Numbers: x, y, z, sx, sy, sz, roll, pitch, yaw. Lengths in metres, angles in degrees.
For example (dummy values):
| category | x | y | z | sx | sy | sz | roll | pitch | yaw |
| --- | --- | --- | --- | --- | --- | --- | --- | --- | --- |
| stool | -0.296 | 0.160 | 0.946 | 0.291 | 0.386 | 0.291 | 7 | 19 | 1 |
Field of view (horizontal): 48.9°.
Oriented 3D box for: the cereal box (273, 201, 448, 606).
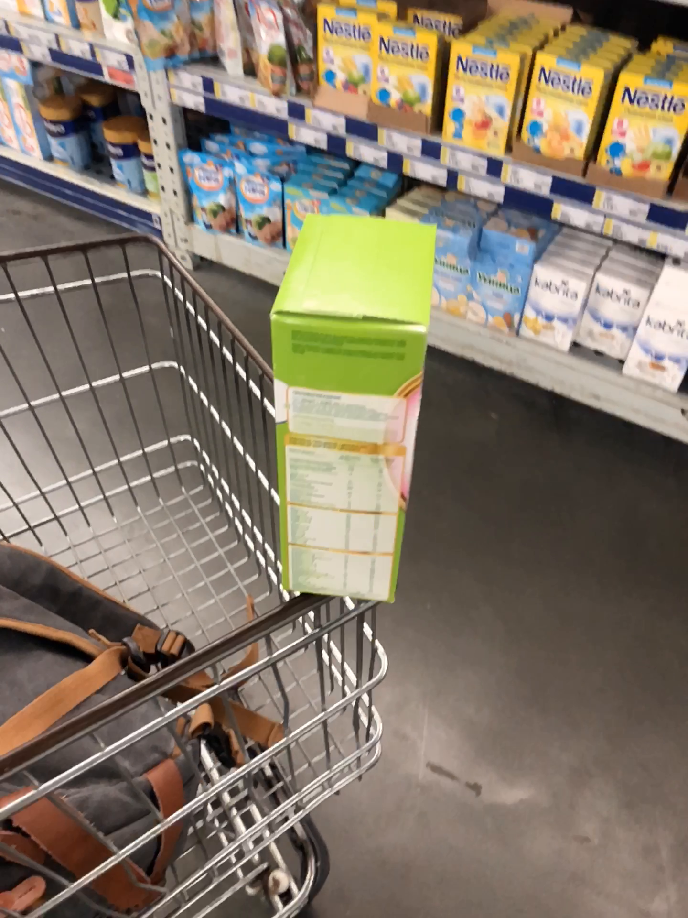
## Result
| category | x | y | z | sx | sy | sz | roll | pitch | yaw |
| --- | --- | --- | --- | --- | --- | --- | --- | --- | --- |
| cereal box | 0.009 | -0.022 | 0.404 | 0.070 | 0.189 | 0.101 | 5 | 43 | 3 |
